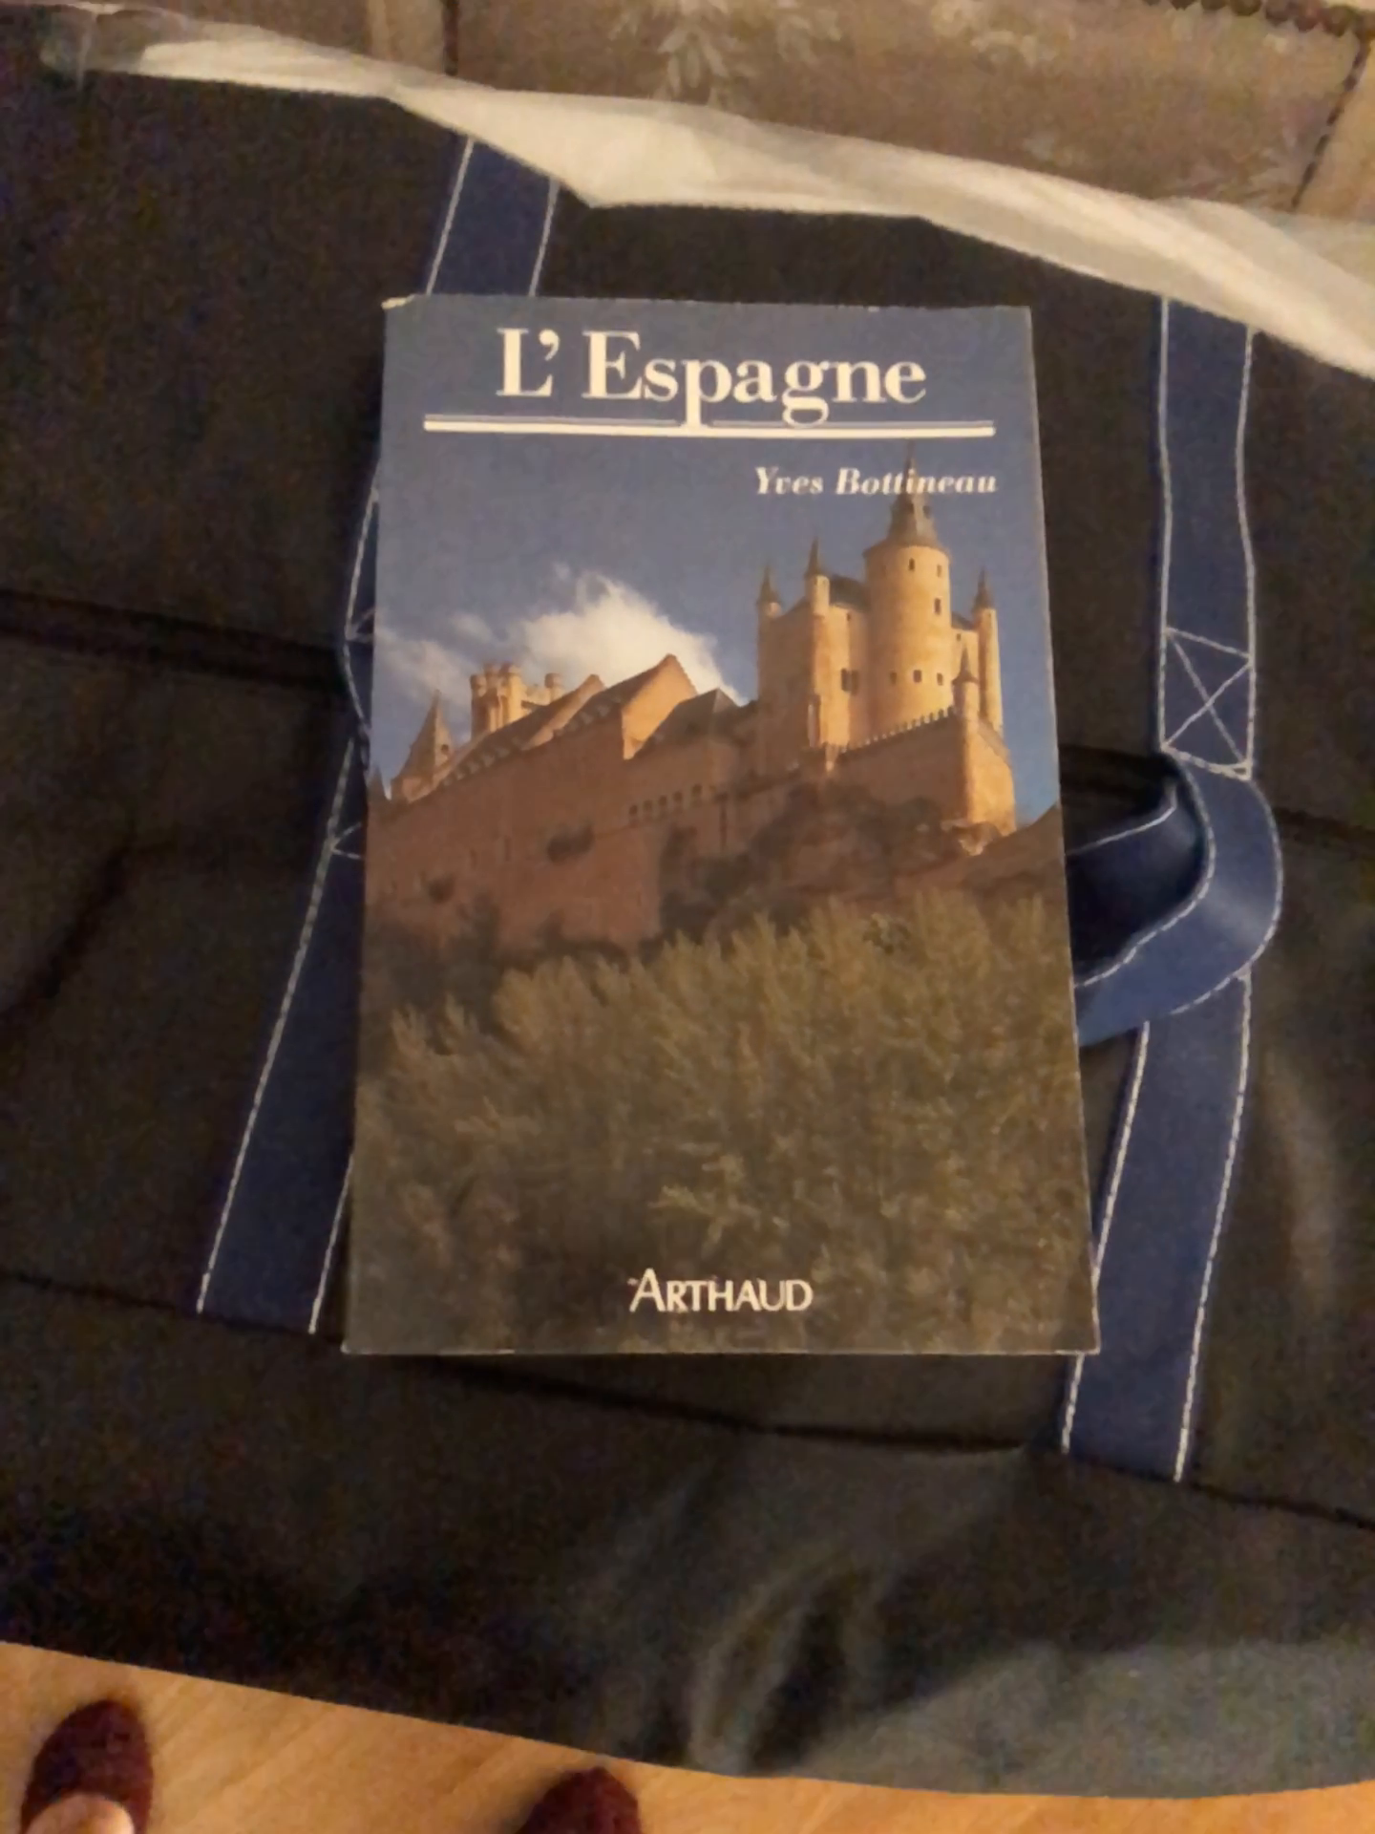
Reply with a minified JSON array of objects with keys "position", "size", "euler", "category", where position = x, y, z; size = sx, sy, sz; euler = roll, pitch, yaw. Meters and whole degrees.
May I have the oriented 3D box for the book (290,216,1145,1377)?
[{"position":[0.003,-0.031,0.338],"size":[0.170,0.030,0.250],"euler":[-1,80,1],"category":"book"}]
